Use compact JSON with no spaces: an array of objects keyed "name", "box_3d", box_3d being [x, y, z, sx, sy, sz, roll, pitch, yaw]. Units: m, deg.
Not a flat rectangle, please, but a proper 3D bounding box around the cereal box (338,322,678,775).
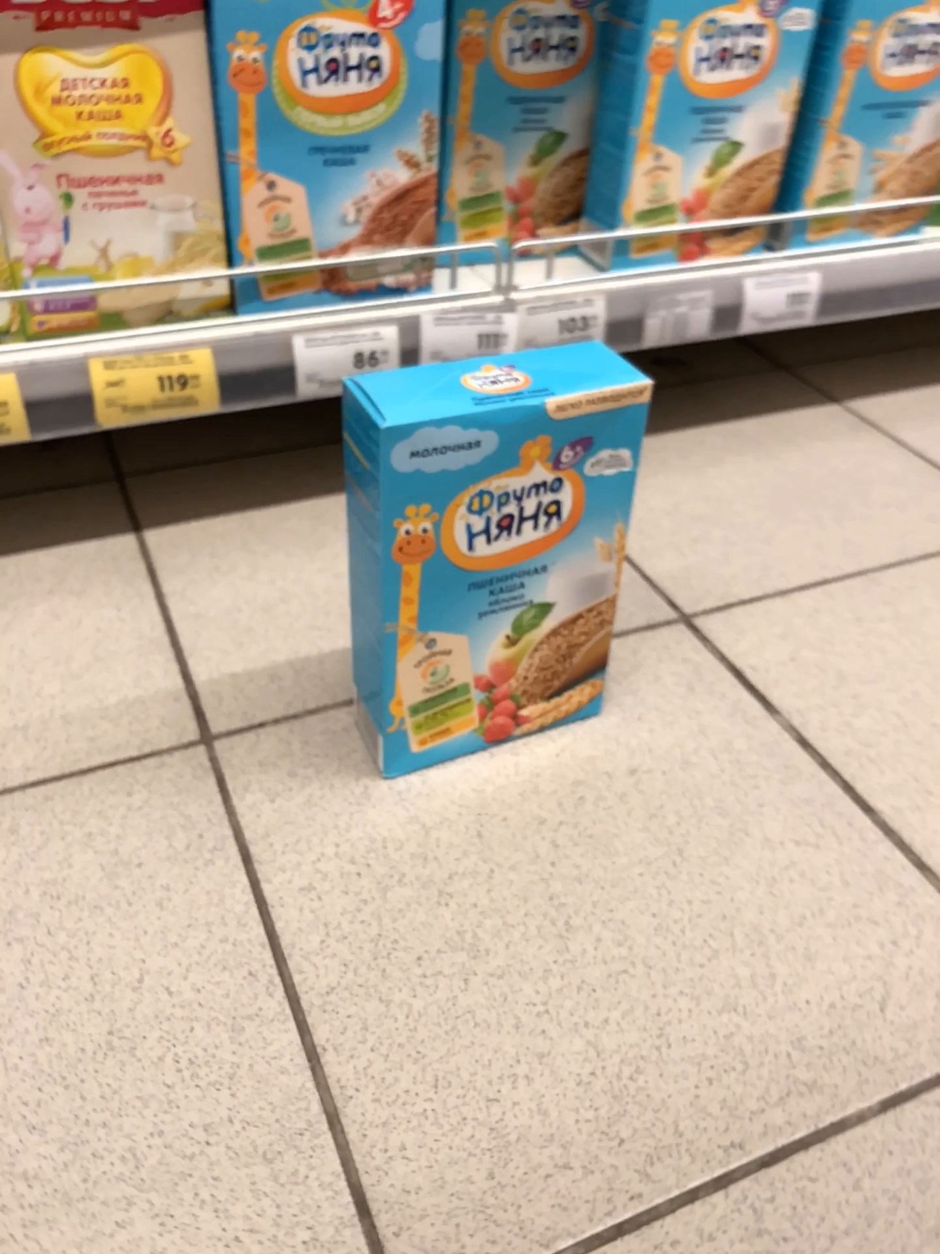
[{"name":"cereal box","box_3d":[0.014,-0.037,0.526,0.140,0.199,0.060,-15,40,-22]}]
